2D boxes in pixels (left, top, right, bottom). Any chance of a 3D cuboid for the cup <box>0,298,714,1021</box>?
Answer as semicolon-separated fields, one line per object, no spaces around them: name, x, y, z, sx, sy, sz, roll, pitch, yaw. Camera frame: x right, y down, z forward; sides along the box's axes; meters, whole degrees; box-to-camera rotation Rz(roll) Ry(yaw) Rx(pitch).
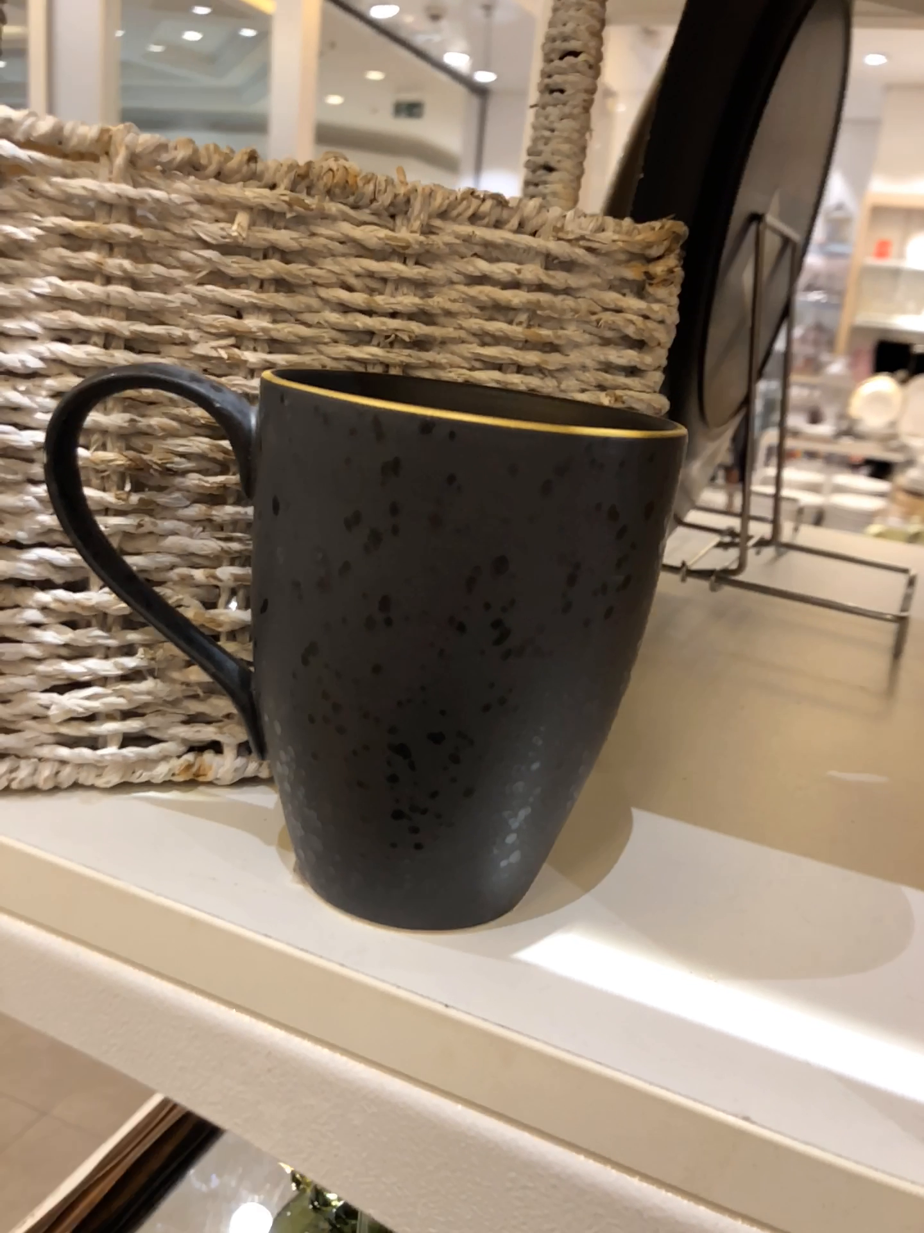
cup;-0.021;-0.003;0.201;0.120;0.099;0.080;9;16;13
